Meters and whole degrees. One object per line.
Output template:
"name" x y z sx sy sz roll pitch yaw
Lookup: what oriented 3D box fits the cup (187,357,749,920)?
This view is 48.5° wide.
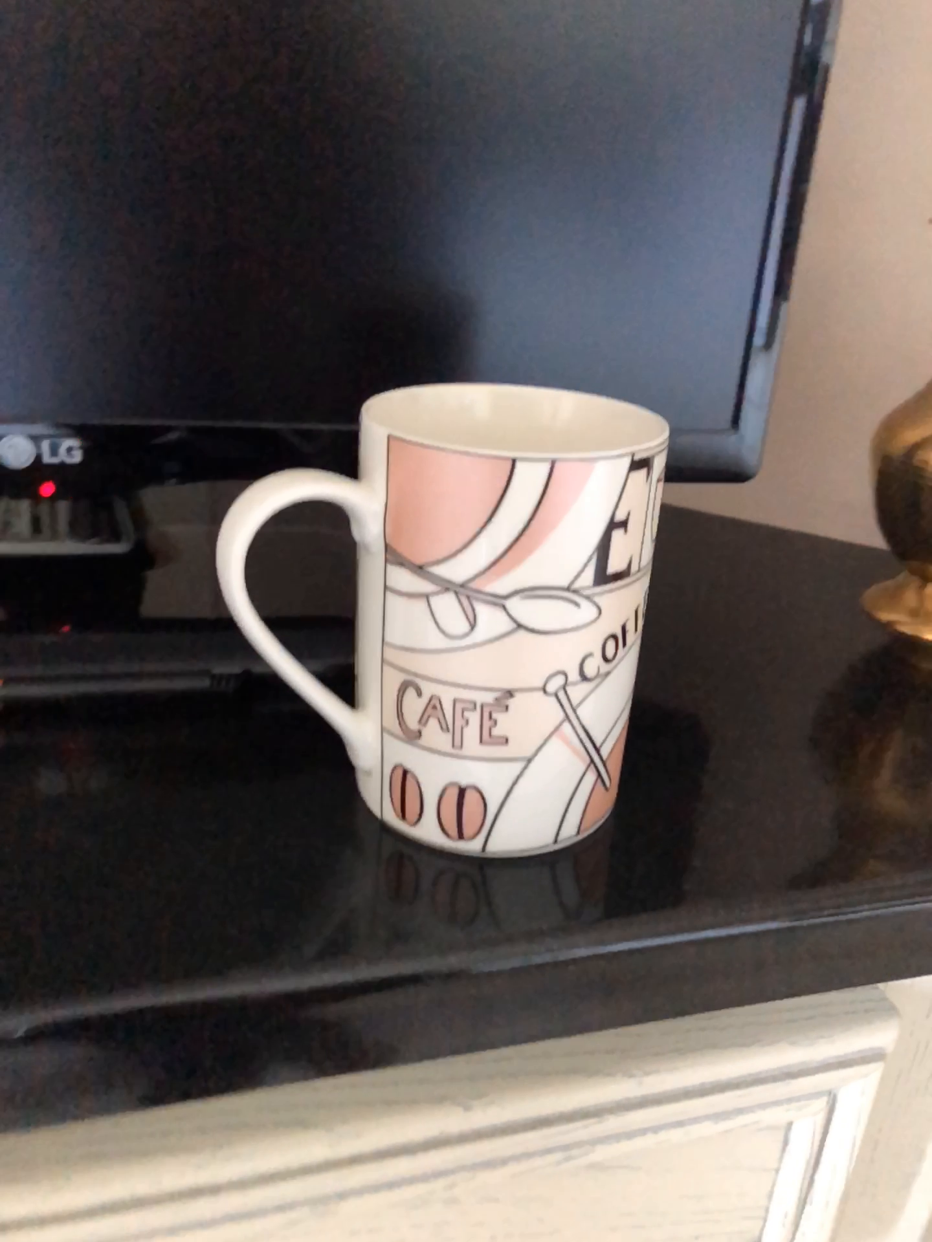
"cup" -0.005 -0.004 0.258 0.110 0.109 0.070 -6 26 -23
